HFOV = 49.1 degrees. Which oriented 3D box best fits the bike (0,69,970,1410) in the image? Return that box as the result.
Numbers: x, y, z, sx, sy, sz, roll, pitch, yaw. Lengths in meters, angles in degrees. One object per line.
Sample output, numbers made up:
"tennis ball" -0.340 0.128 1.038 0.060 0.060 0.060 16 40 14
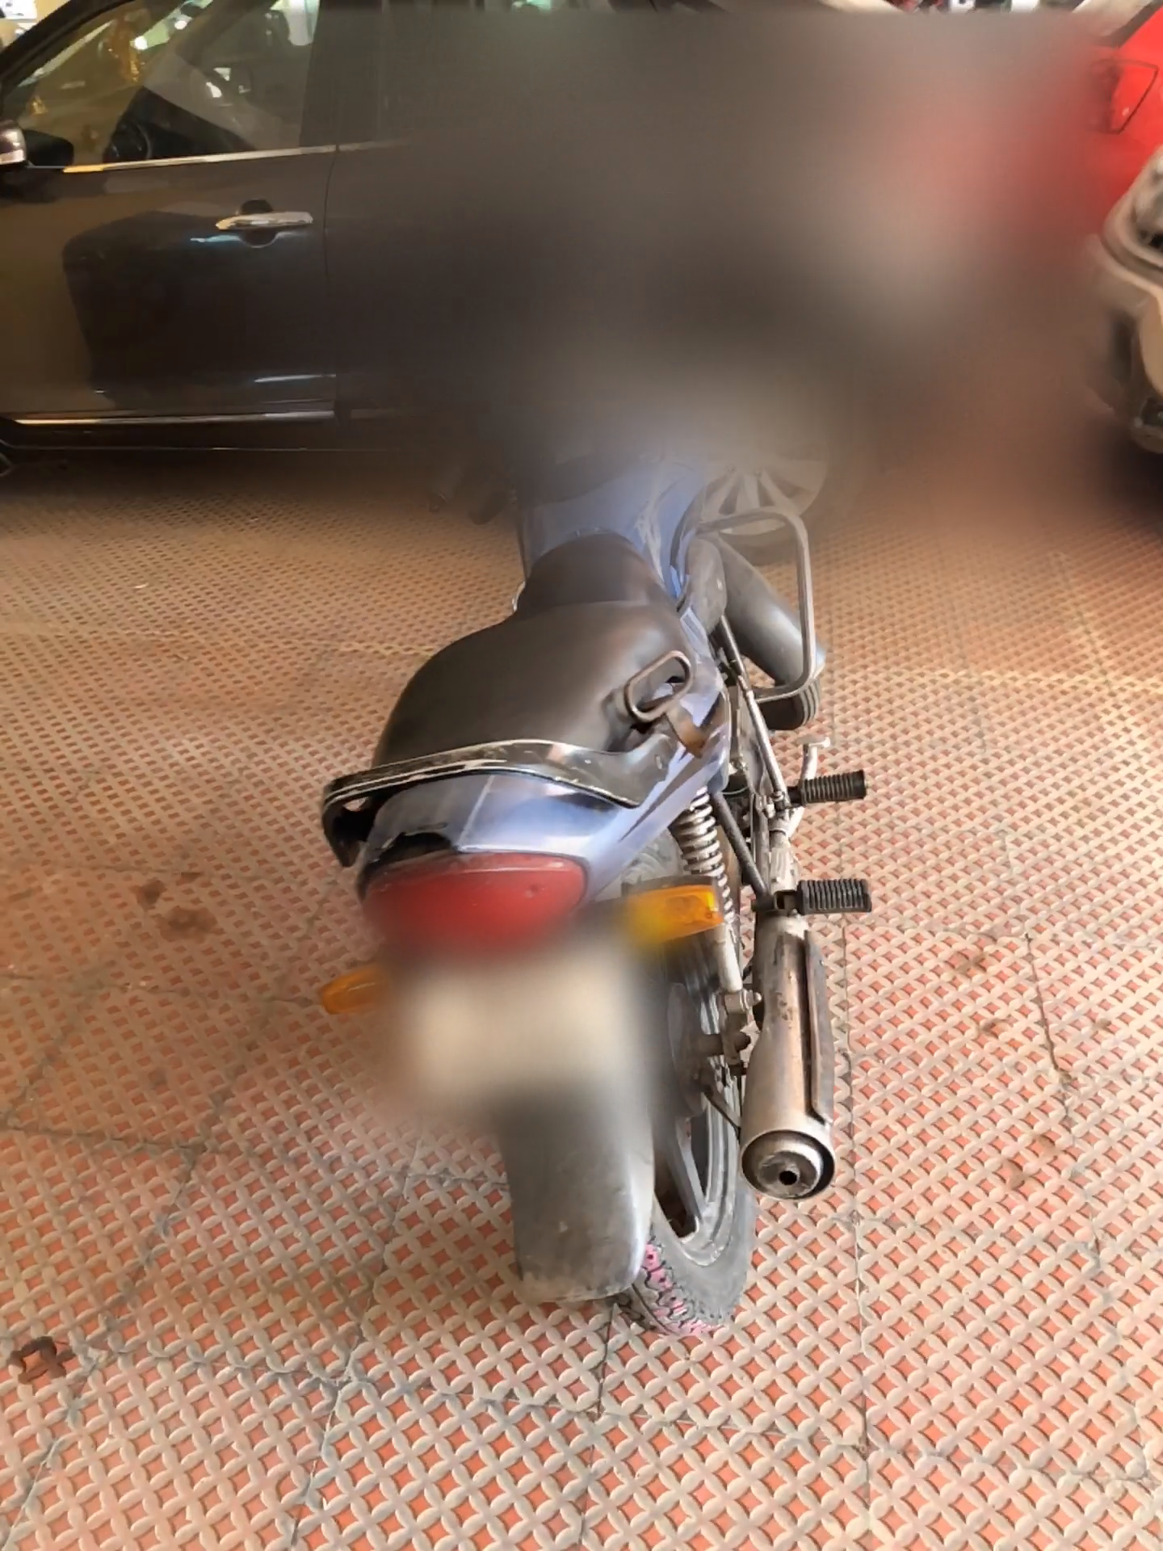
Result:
"bike" -0.138 -0.263 1.821 0.733 1.073 1.697 -2 36 0
